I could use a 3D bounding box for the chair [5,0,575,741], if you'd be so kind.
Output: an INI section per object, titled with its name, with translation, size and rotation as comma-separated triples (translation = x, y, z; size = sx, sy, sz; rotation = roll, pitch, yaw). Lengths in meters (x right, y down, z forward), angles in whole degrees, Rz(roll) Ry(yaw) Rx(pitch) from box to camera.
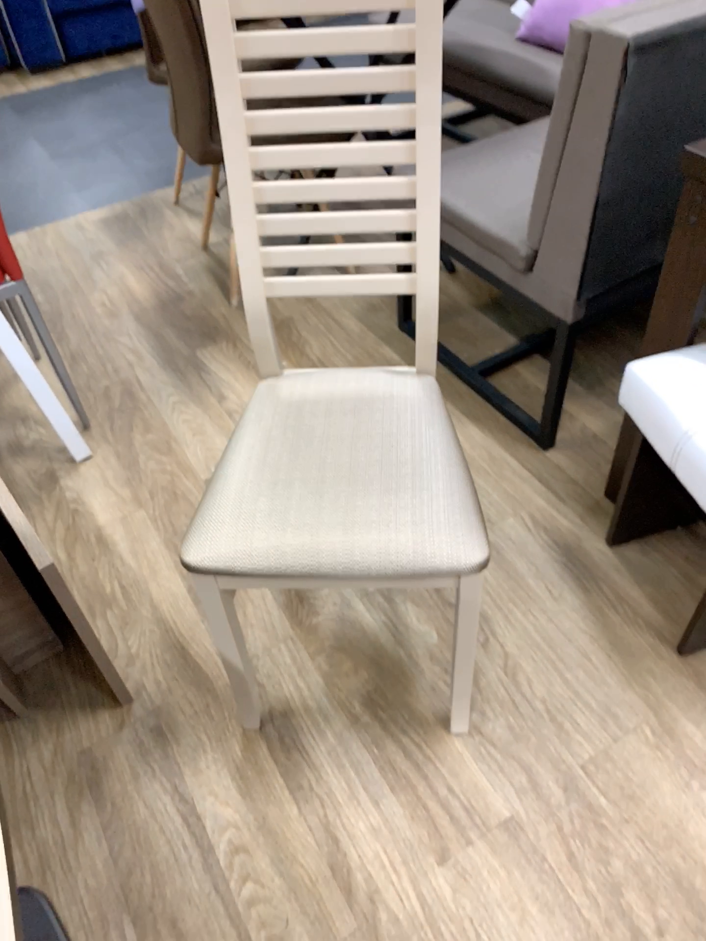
[chair]
translation = -0.007, -0.075, 1.003
size = 0.390, 0.970, 0.475
rotation = -1, 45, 5
